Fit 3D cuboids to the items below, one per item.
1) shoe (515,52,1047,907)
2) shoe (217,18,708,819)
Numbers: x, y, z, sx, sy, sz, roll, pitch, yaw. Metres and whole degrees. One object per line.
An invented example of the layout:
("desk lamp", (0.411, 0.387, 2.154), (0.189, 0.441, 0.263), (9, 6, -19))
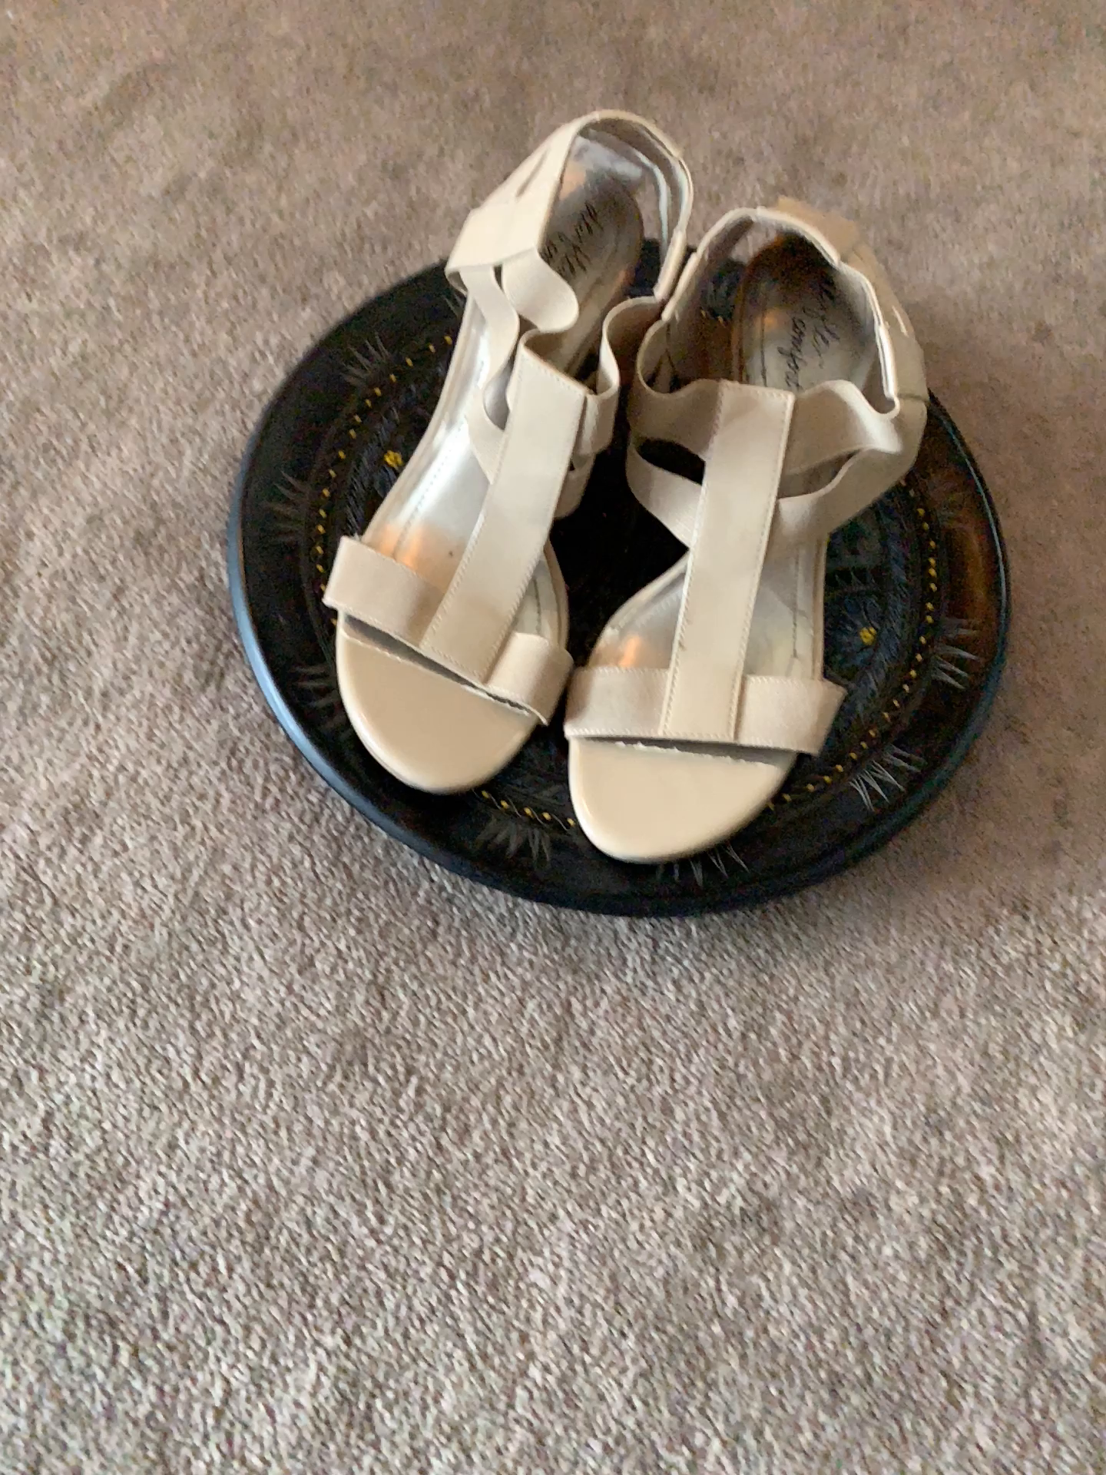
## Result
("shoe", (0.068, -0.078, 0.345), (0.100, 0.099, 0.221), (15, 66, 2))
("shoe", (-0.019, -0.101, 0.362), (0.090, 0.099, 0.221), (12, 66, 0))
